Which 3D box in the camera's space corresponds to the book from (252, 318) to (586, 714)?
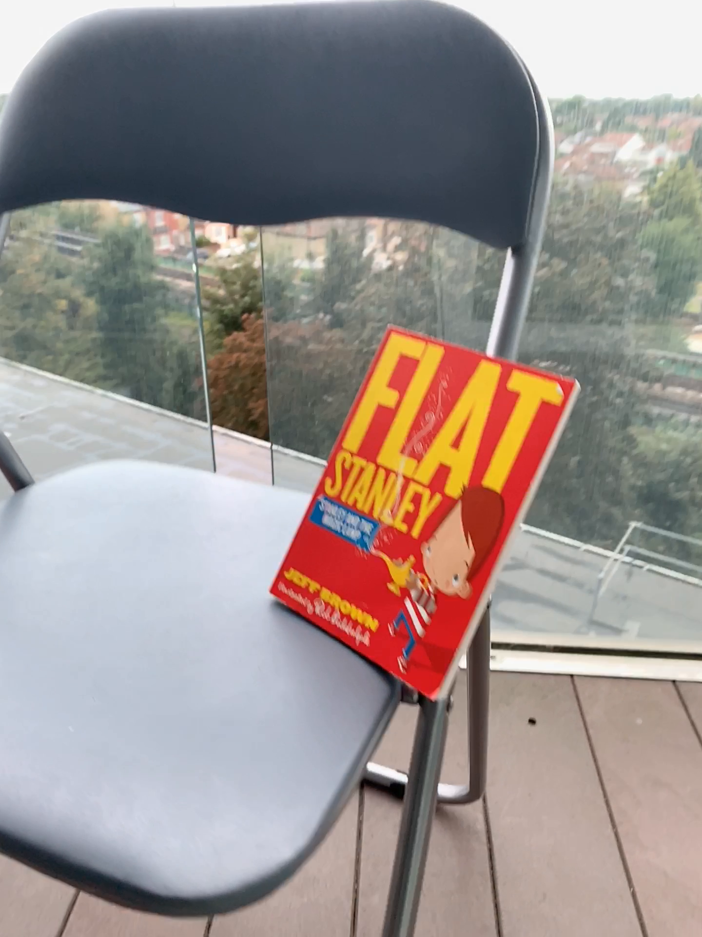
[{"bbox_3d":[0.031,0.017,0.419,0.140,0.190,0.020,24,0,39],"label":"book"}]
